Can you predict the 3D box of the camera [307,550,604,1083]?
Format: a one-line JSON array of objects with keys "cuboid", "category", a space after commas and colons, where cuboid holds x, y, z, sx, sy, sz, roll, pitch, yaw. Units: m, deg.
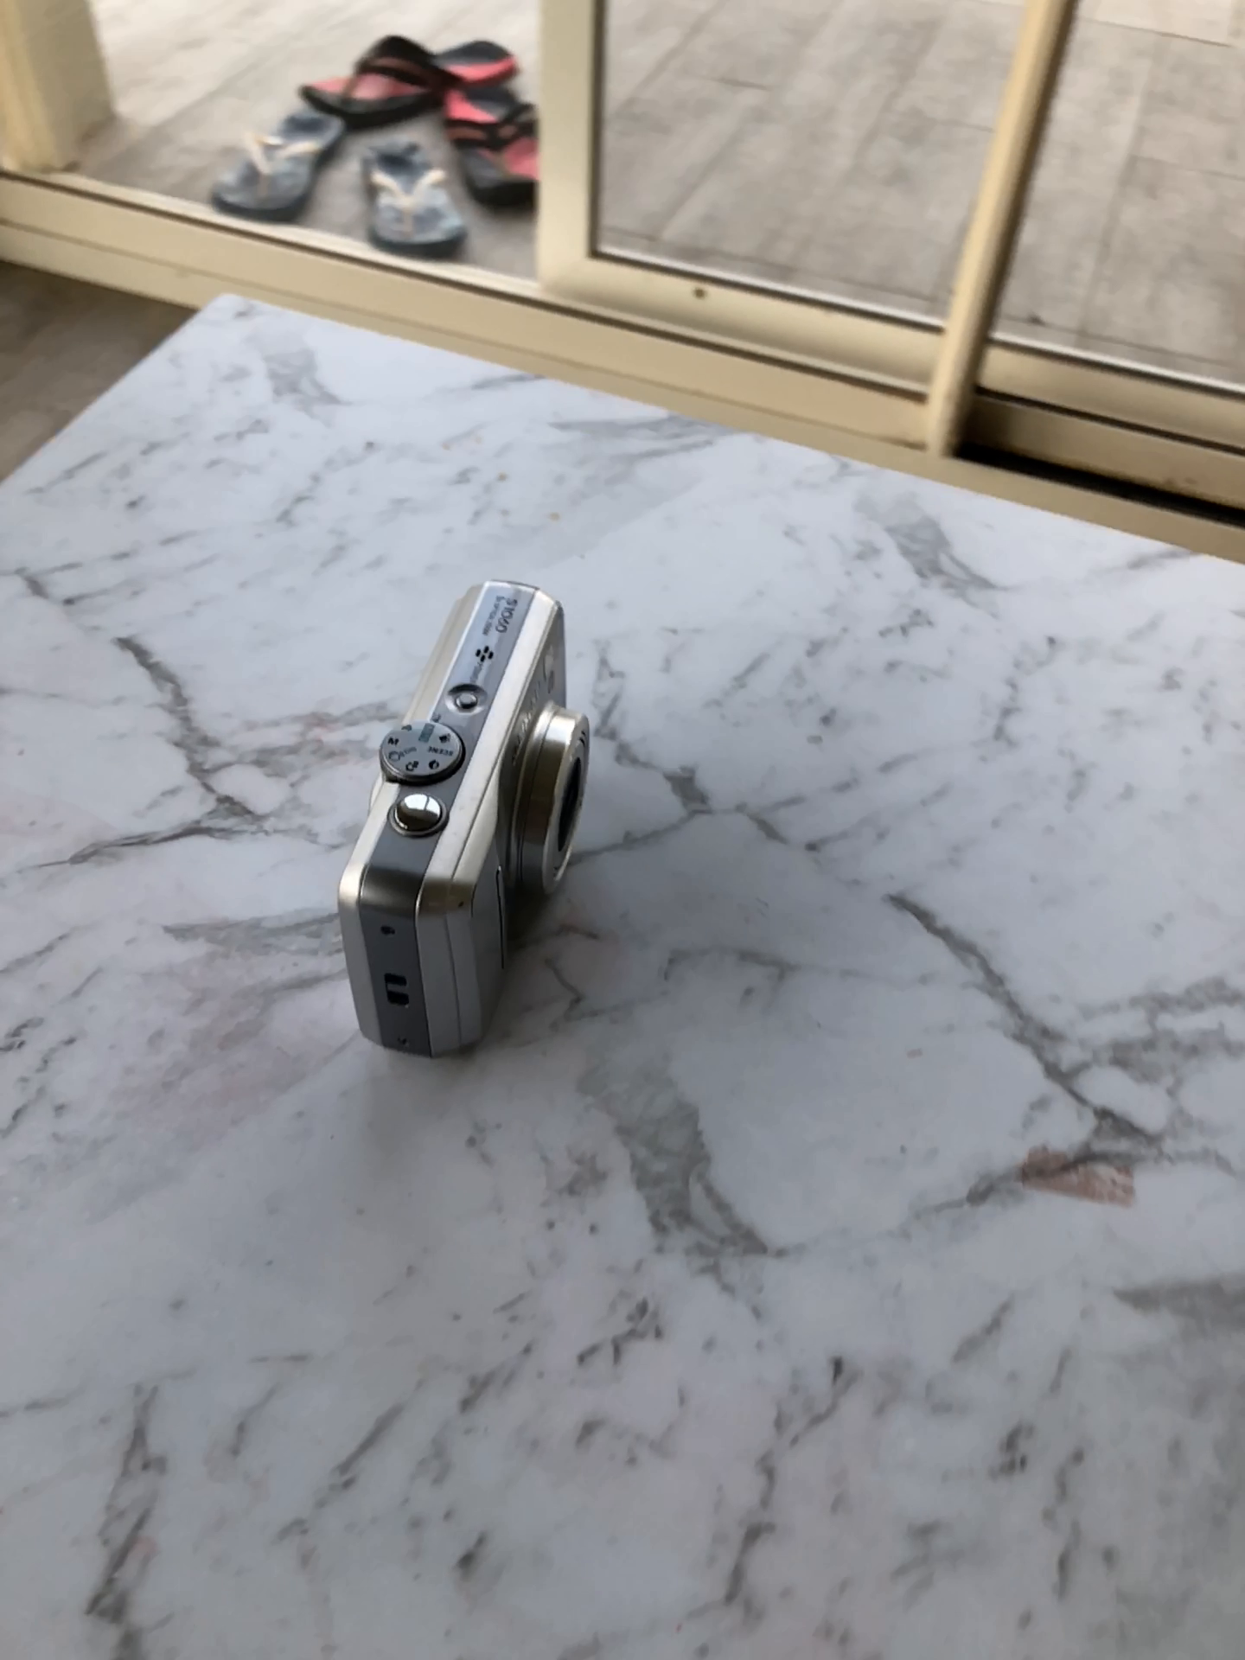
[{"cuboid": [-0.033, -0.005, 0.309, 0.034, 0.061, 0.099, 11, 51, 6], "category": "camera"}]
